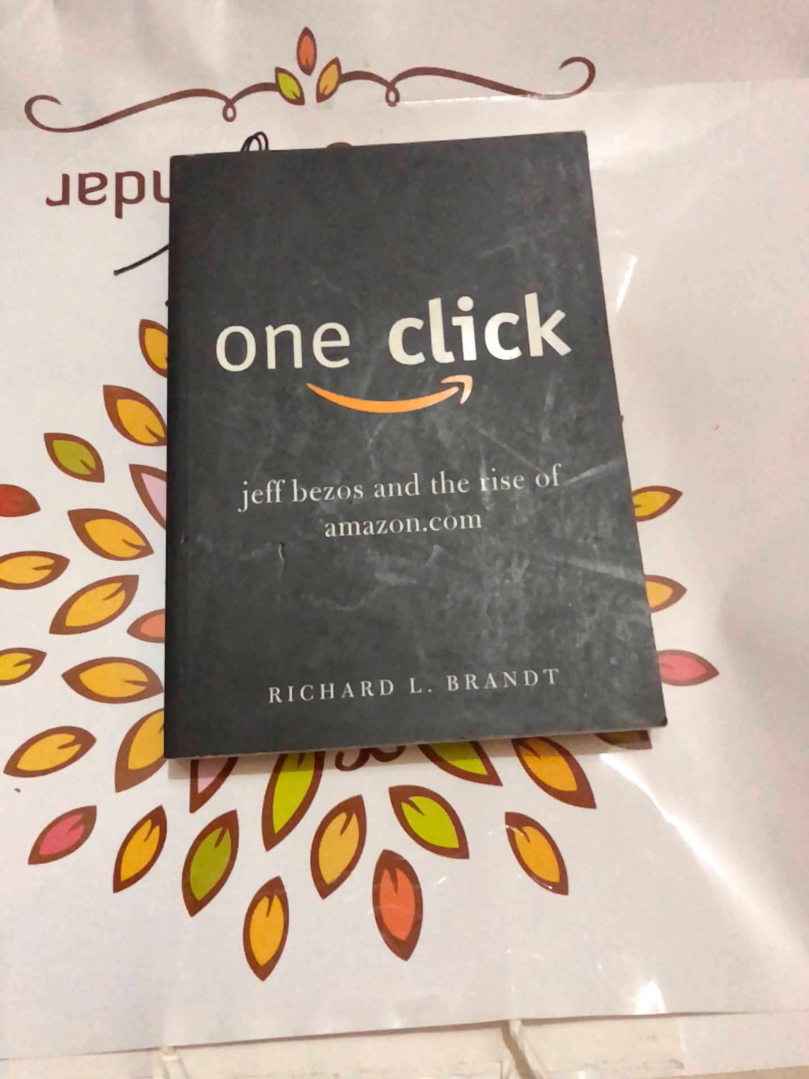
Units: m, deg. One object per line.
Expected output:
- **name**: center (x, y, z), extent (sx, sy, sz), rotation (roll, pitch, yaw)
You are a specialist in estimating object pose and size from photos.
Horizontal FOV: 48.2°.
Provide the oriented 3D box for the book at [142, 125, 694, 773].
- **book**: center (-0.001, -0.039, 0.306), extent (0.160, 0.020, 0.220), rotation (-3, 71, 2)
